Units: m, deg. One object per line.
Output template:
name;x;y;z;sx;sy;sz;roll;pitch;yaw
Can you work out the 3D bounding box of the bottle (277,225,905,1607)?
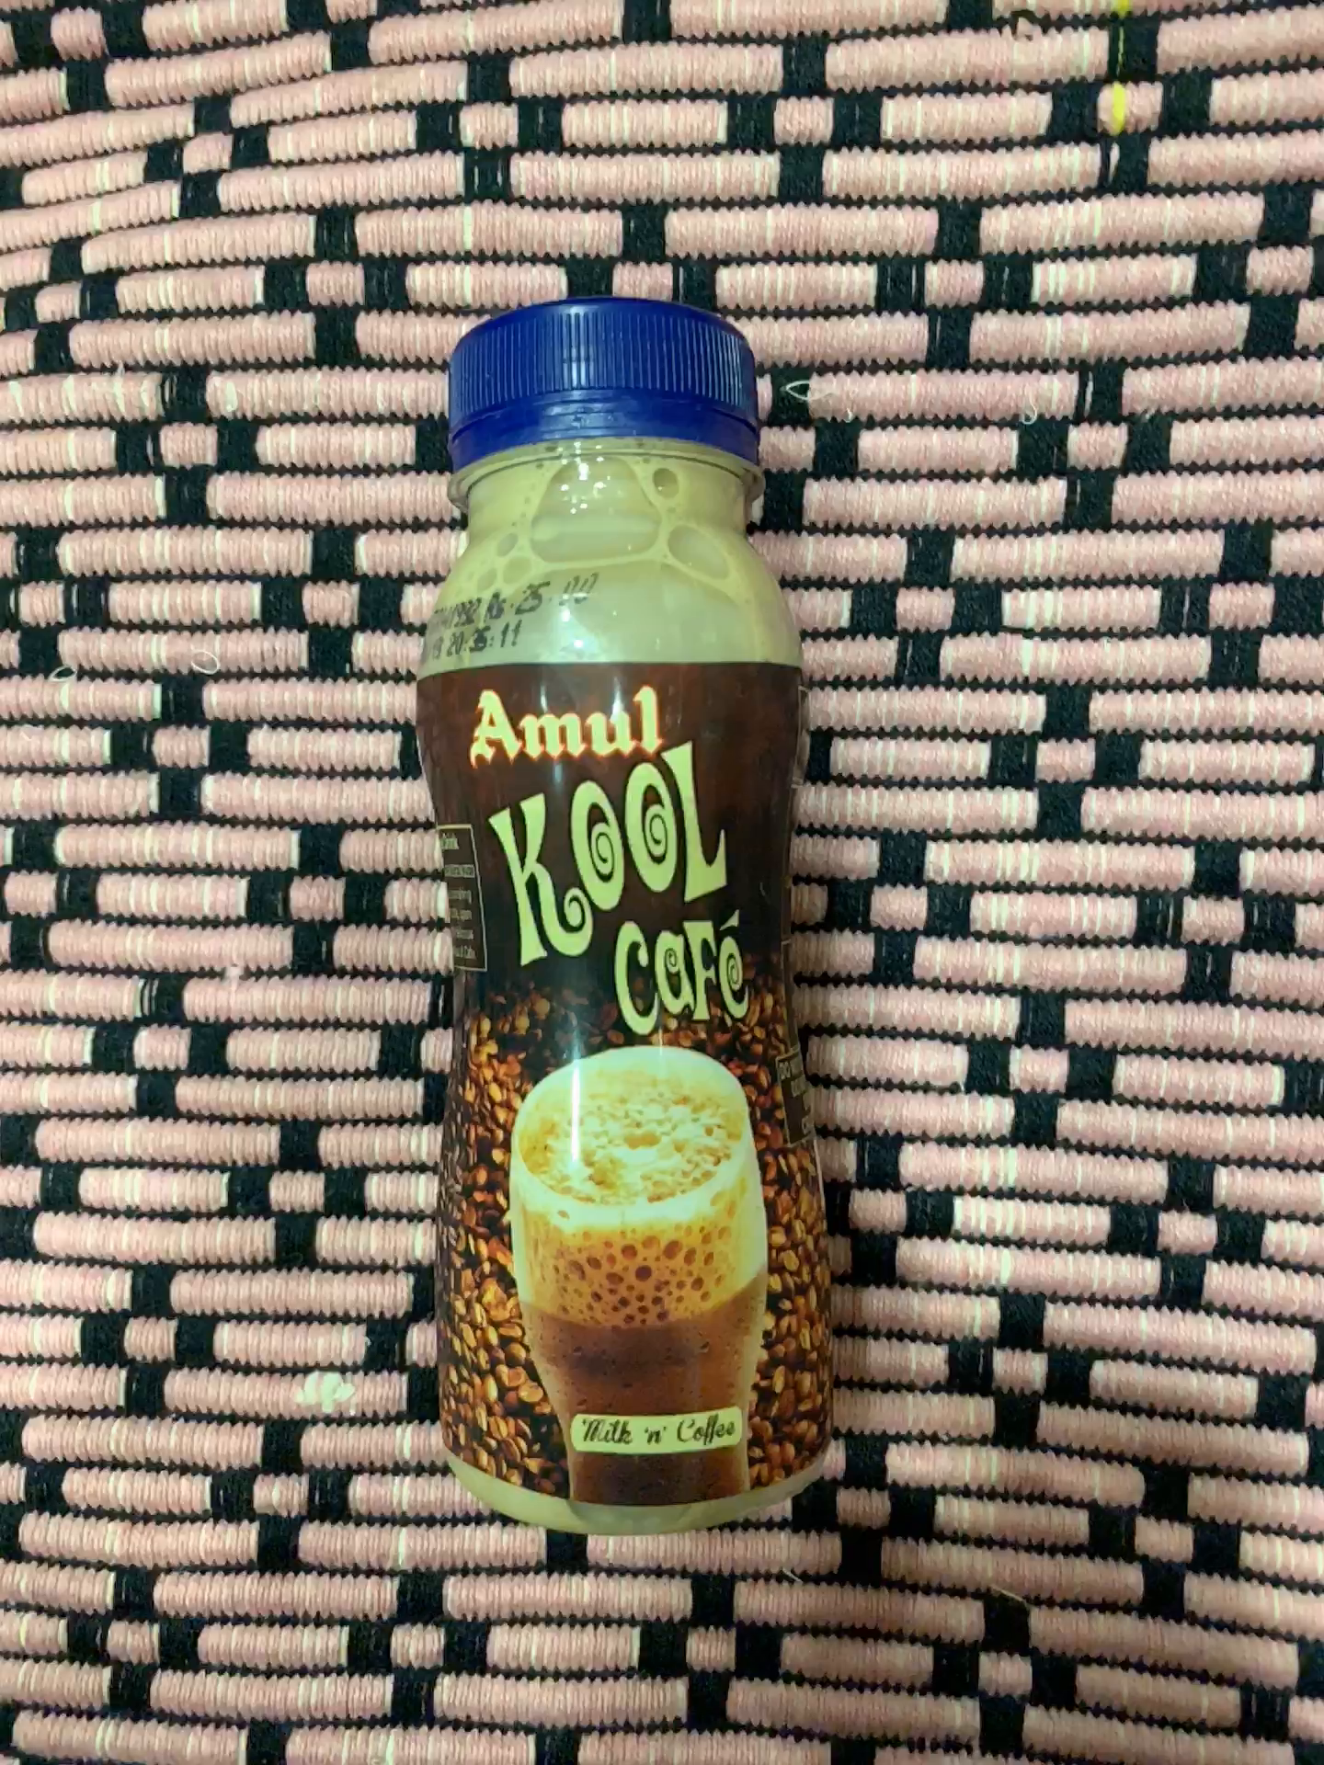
bottle;-0.008;0.003;0.167;0.060;0.050;0.140;-2;87;2
